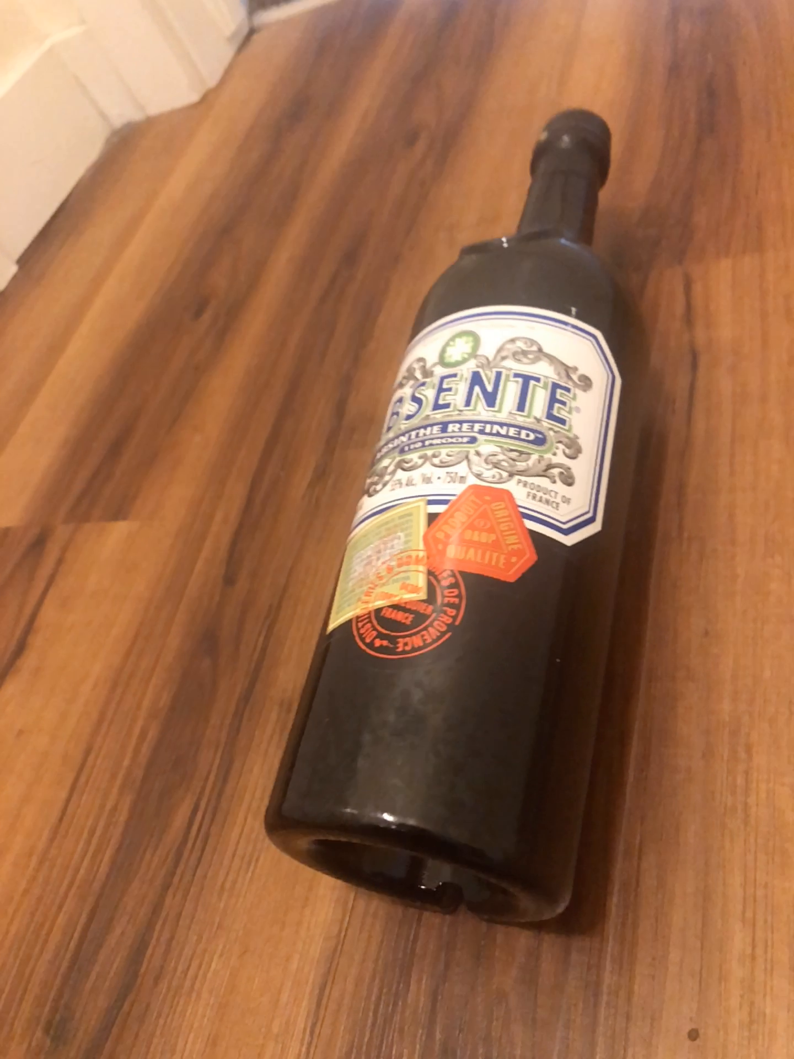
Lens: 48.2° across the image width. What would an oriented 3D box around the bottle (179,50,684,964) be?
[{"bbox_3d":[0.035,-0.033,0.294,0.080,0.070,0.300,-2,54,28],"label":"bottle"}]
